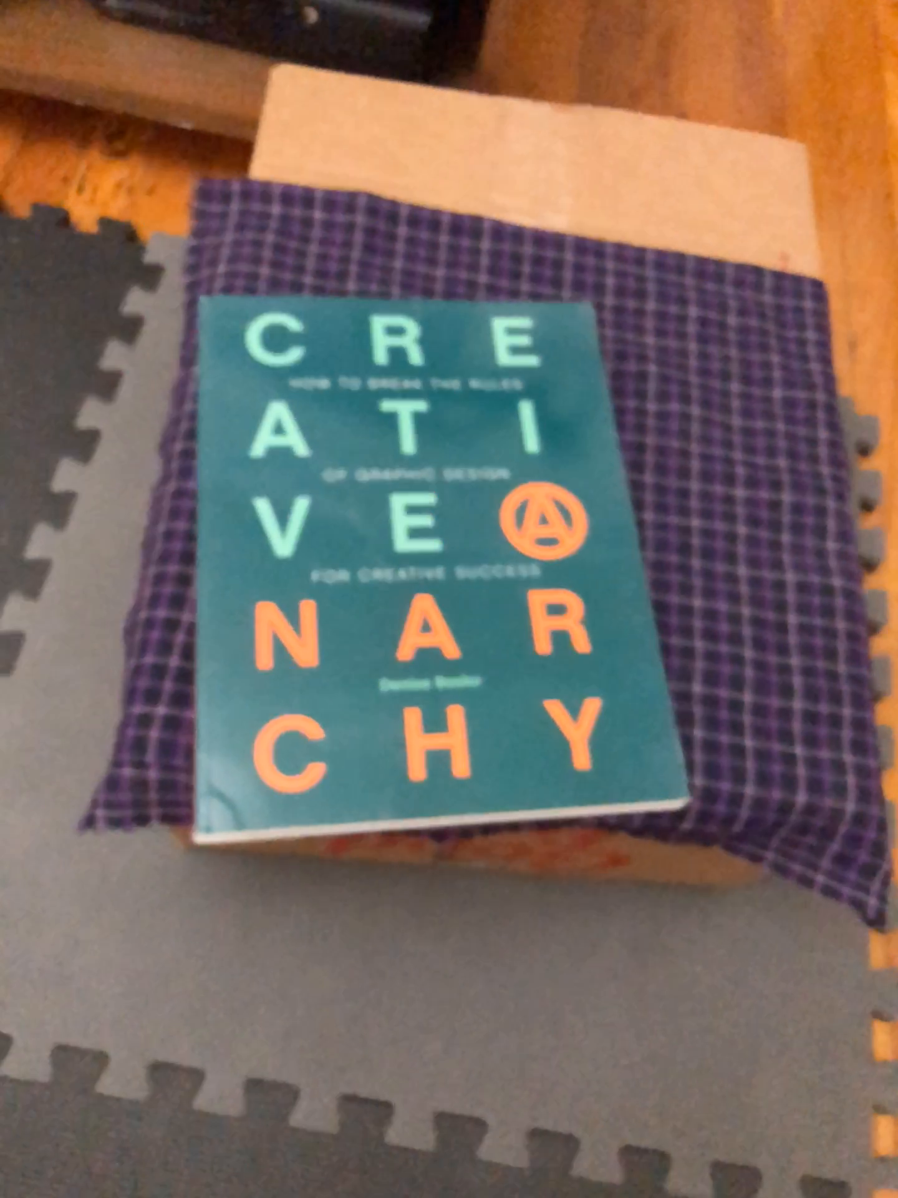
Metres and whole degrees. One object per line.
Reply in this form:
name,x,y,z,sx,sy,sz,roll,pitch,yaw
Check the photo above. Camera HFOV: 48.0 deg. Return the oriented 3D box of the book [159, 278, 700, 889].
book,-0.020,-0.028,0.478,0.220,0.020,0.301,-2,65,-9
